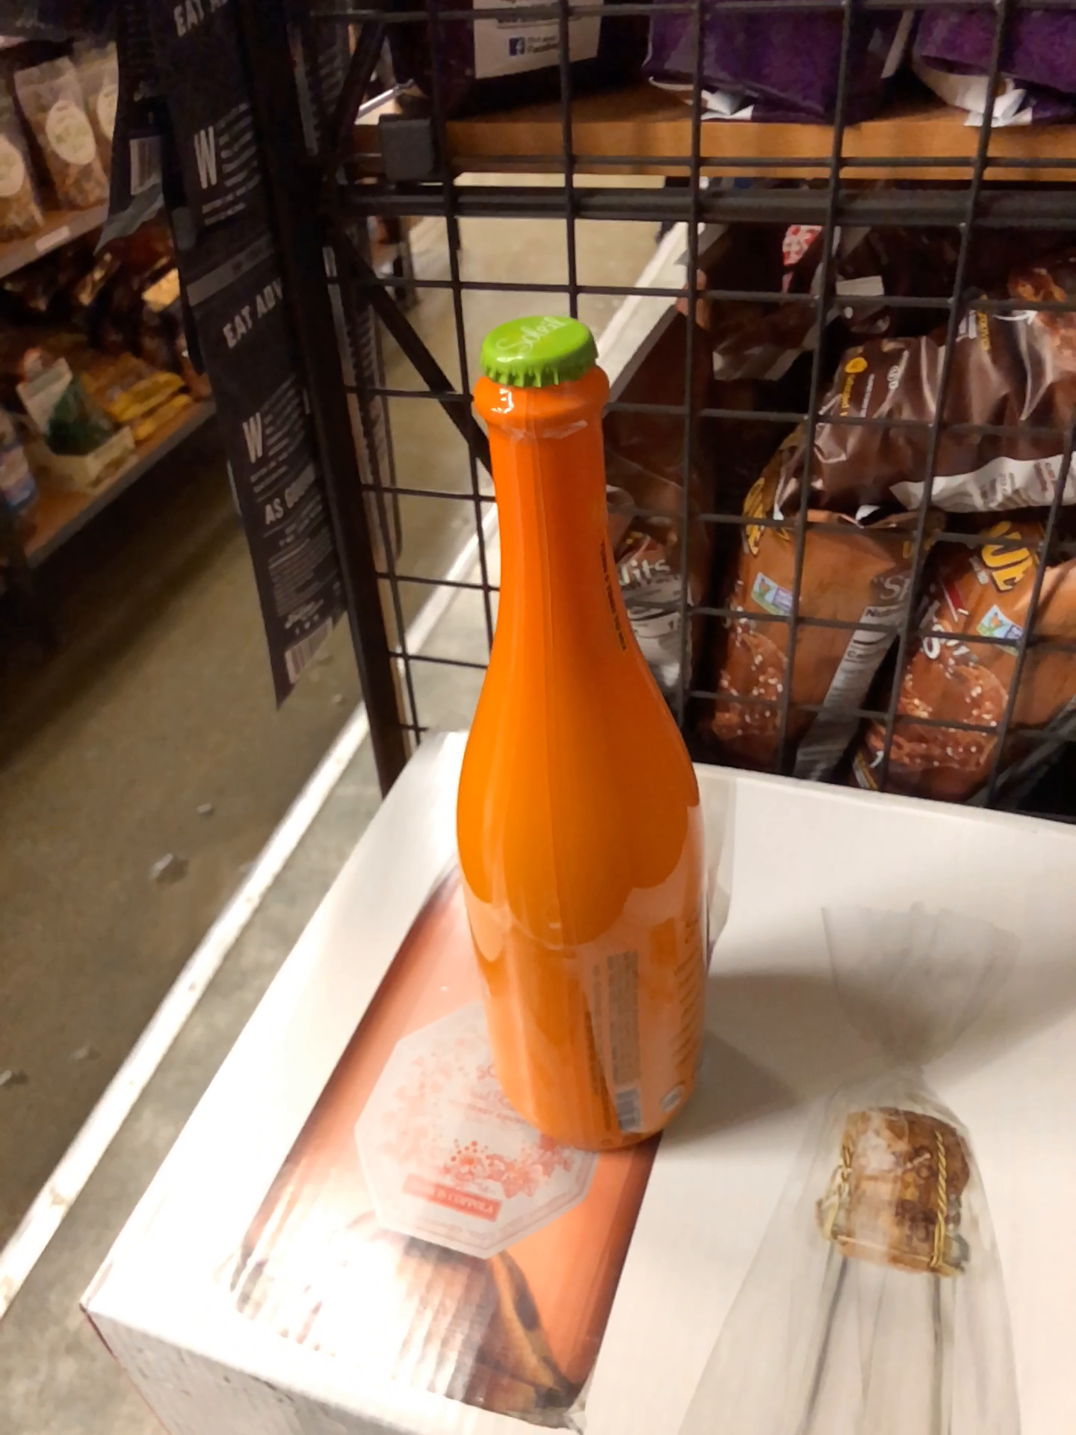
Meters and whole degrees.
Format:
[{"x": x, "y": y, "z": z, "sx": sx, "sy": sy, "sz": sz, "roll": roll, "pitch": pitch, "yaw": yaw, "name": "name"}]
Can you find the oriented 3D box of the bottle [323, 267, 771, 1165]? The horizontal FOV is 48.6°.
[{"x": 0.014, "y": 0.015, "z": 0.379, "sx": 0.090, "sy": 0.279, "sz": 0.090, "roll": -3, "pitch": 38, "yaw": 2, "name": "bottle"}]
